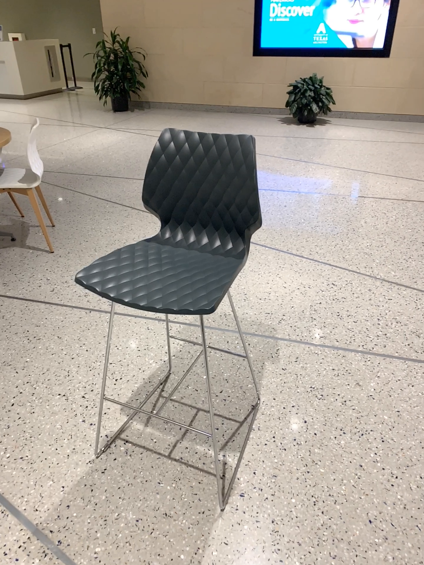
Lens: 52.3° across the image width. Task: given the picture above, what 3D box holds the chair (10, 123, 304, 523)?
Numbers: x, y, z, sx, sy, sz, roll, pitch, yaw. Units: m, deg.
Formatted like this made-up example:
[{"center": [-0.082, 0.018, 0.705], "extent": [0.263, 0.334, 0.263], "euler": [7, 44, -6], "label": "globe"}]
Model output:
[{"center": [-0.100, 0.099, 1.337], "extent": [0.535, 0.996, 0.535], "euler": [14, 33, 22], "label": "chair"}]
